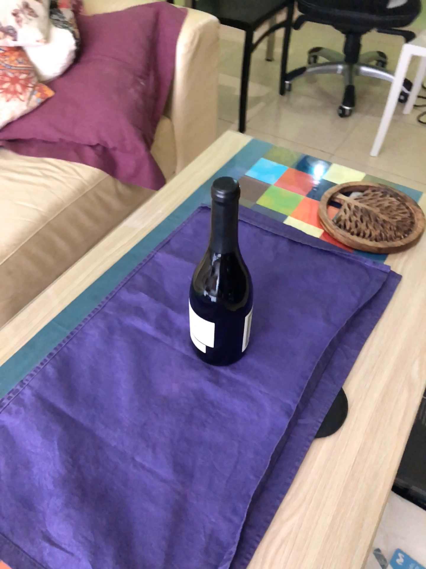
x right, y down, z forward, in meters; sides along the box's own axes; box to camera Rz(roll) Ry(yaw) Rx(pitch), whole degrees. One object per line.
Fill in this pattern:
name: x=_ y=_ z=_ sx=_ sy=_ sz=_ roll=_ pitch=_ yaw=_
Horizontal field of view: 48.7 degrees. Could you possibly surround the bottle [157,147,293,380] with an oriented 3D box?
bottle: x=0.009 y=-0.015 z=0.580 sx=0.100 sy=0.259 sz=0.110 roll=-20 pitch=50 yaw=-18
